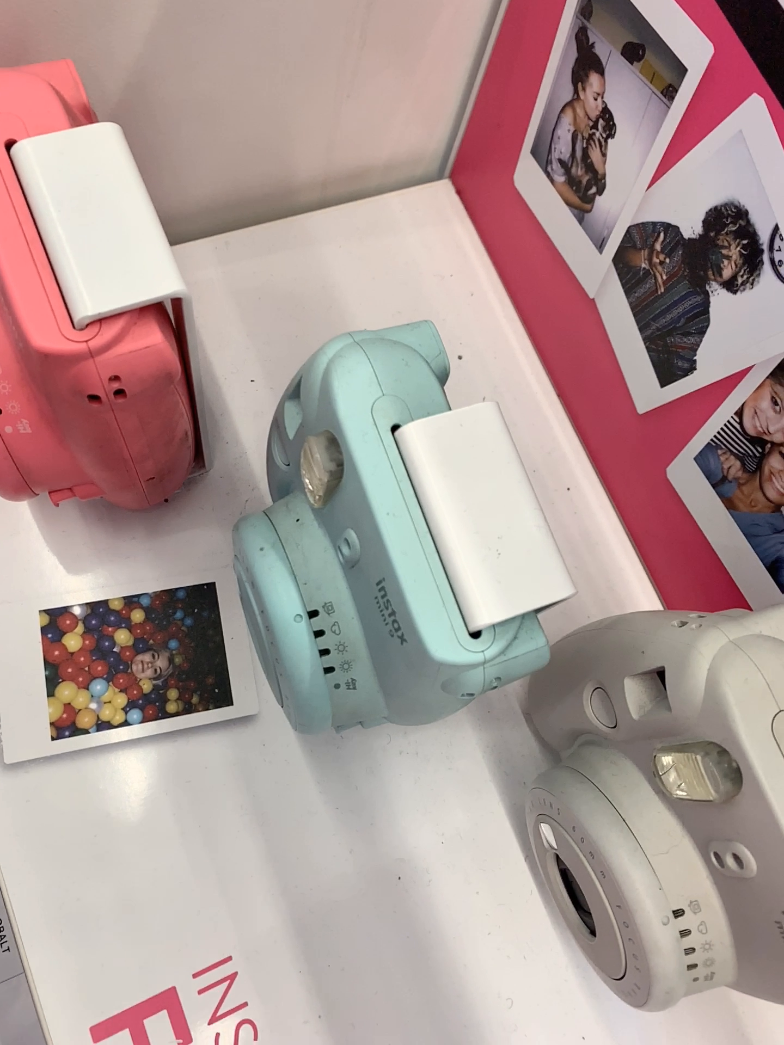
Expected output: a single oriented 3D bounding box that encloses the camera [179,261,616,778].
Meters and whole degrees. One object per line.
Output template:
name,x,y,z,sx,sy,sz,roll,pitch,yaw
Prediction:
camera,-0.011,0.011,0.248,0.070,0.130,0.110,-16,76,-15
